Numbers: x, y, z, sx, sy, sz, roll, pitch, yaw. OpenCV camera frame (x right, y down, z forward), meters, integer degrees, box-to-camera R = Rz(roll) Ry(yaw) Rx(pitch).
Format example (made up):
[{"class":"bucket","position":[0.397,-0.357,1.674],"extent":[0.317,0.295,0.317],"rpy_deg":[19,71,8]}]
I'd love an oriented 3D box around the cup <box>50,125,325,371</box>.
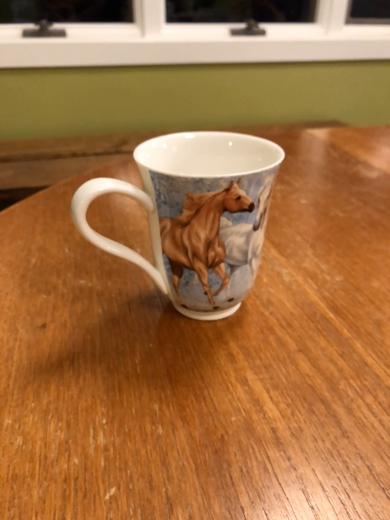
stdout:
[{"class":"cup","position":[-0.005,-0.018,0.272],"extent":[0.133,0.098,0.083],"rpy_deg":[-17,34,-27]}]
